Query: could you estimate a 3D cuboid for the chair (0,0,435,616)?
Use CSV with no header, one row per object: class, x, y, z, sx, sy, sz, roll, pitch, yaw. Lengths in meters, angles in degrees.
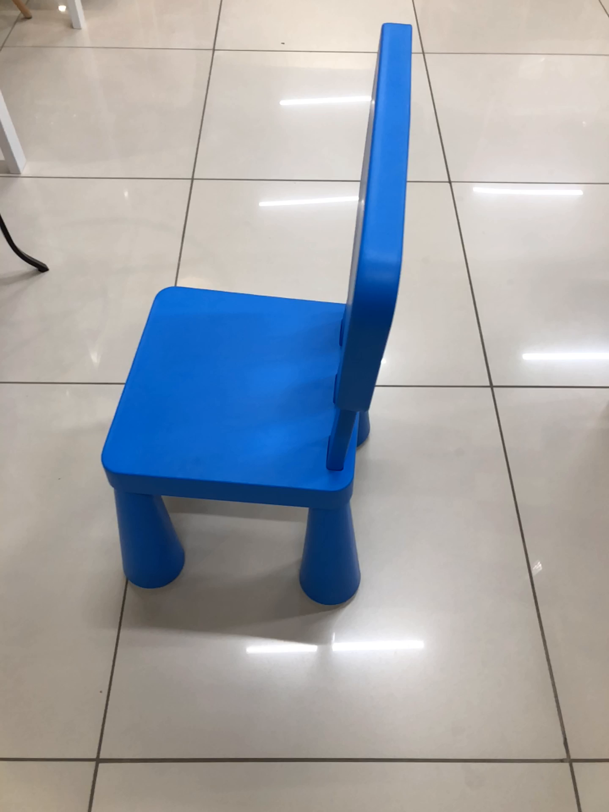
chair,-0.073,-0.050,0.818,0.355,0.666,0.357,6,54,4
